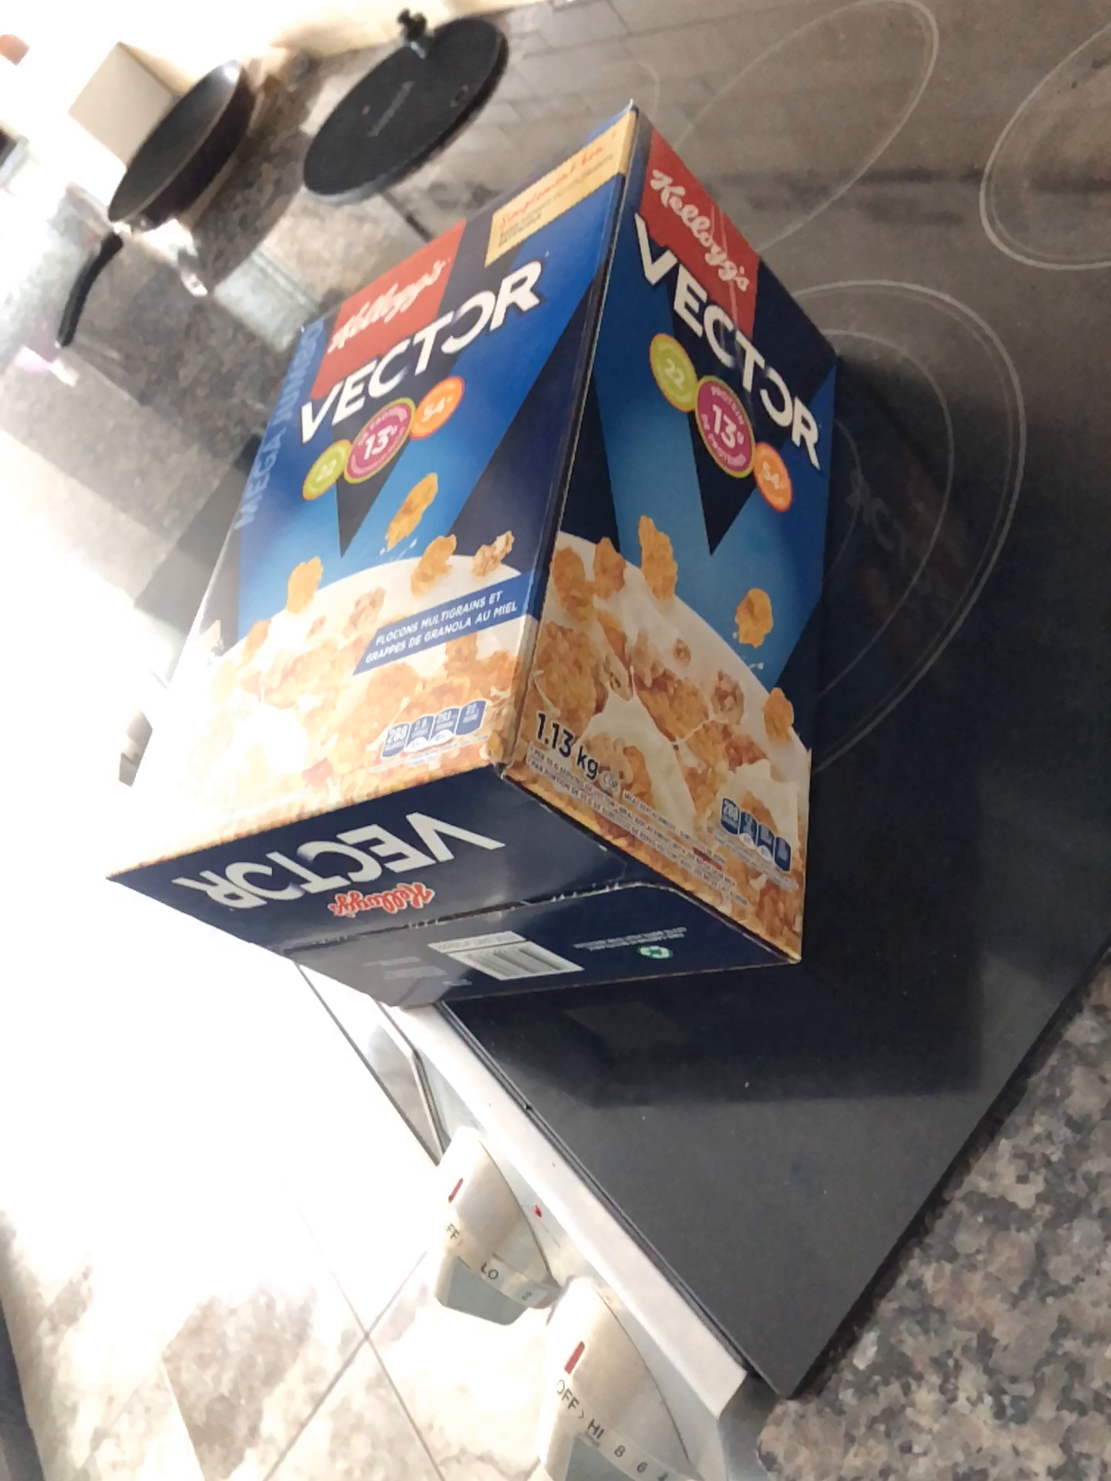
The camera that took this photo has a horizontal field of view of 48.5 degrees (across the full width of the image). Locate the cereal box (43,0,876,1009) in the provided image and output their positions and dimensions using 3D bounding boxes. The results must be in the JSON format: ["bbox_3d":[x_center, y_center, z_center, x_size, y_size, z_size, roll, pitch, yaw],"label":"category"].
[{"bbox_3d":[-0.019,-0.081,0.475,0.221,0.169,0.310,-16,55,38],"label":"cereal box"}]
